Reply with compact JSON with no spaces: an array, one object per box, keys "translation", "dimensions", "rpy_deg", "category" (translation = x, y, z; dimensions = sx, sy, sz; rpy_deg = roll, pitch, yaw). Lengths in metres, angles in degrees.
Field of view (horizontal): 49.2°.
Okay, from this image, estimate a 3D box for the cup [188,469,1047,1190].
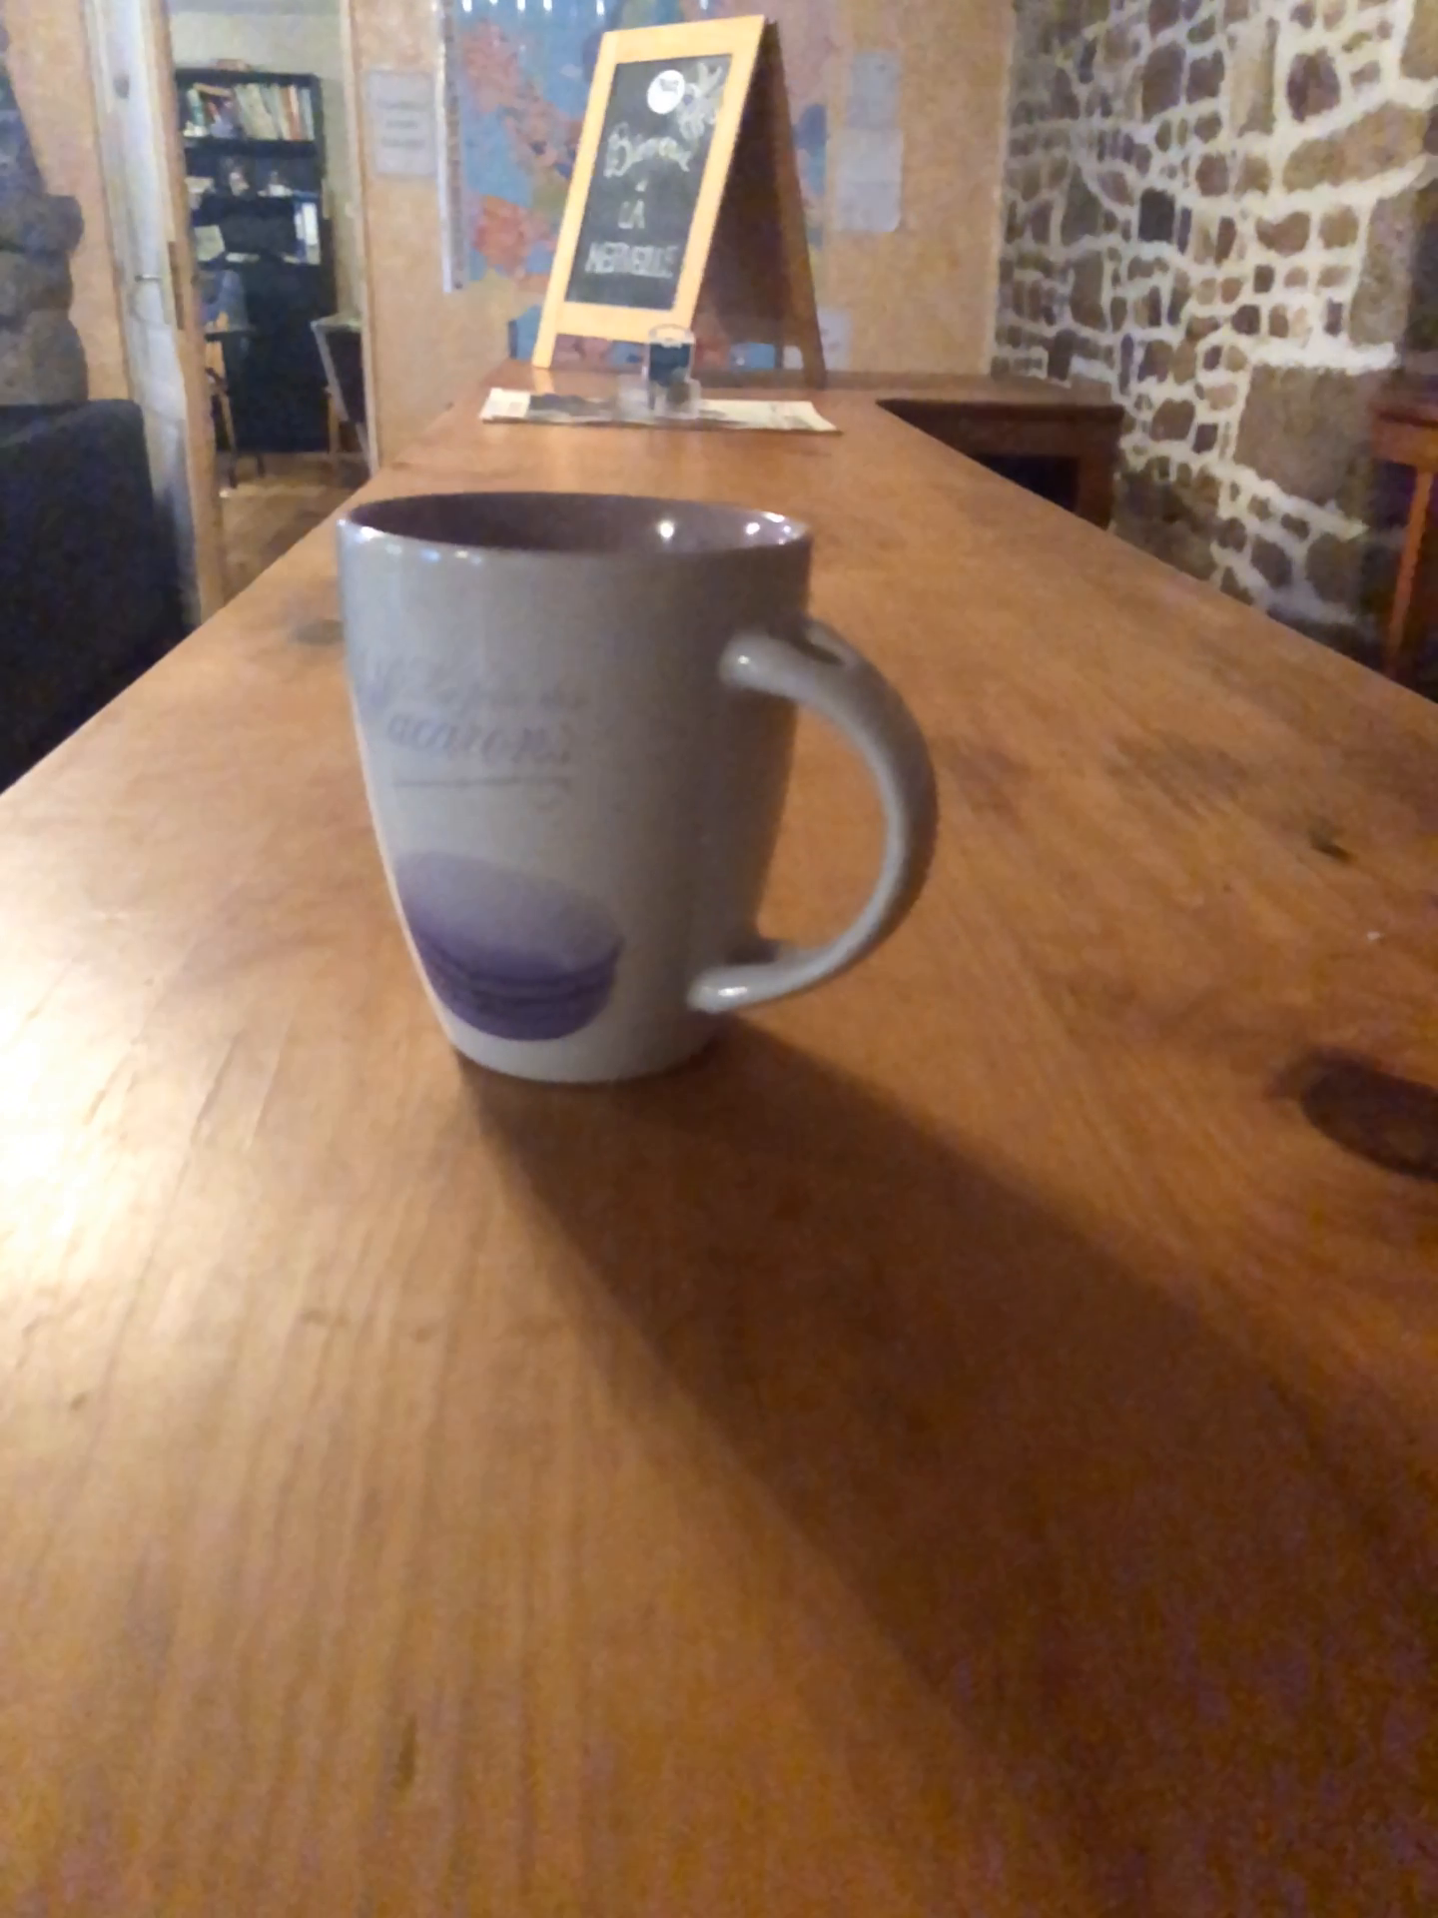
[{"translation":[-0.014,-0.036,0.302],"dimensions":[0.120,0.095,0.101],"rpy_deg":[12,27,25],"category":"cup"}]
